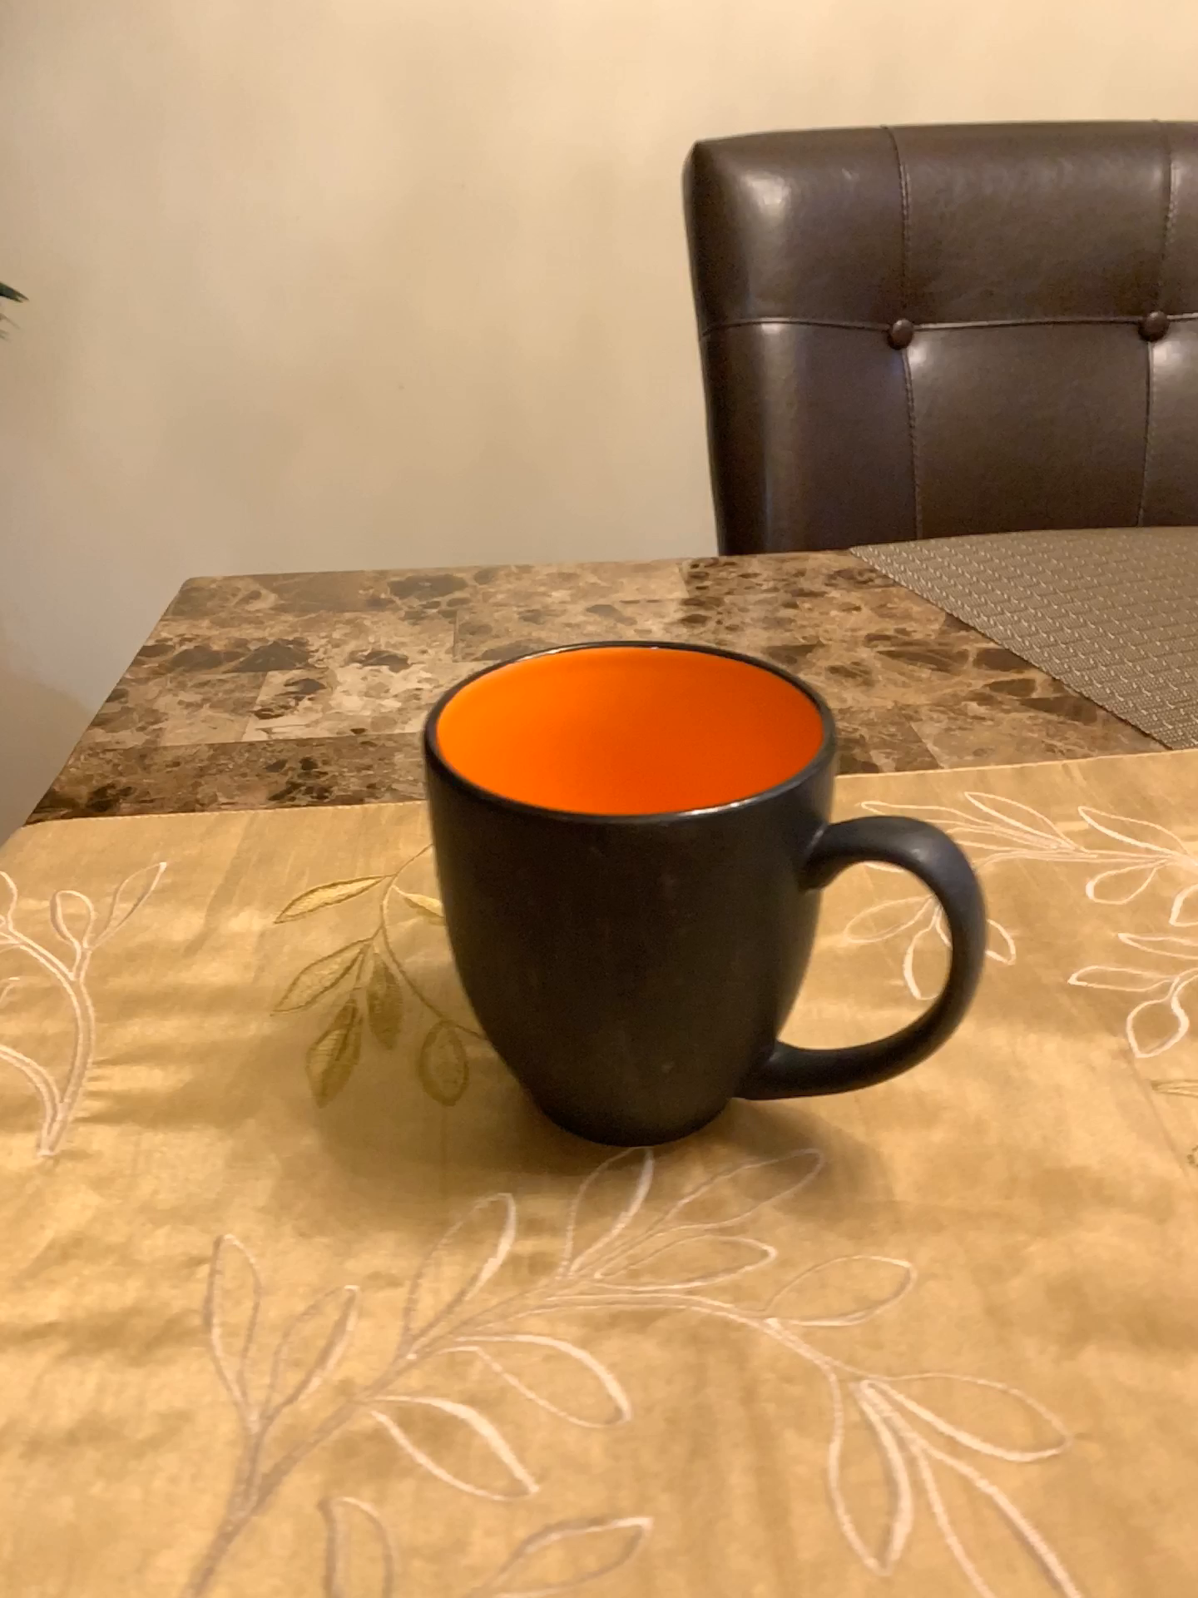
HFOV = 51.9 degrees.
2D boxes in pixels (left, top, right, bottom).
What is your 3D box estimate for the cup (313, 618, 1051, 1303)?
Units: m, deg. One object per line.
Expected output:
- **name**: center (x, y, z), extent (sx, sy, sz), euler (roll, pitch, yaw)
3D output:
- **cup**: center (0.021, 0.025, 0.294), extent (0.133, 0.087, 0.100), euler (16, 33, 29)
